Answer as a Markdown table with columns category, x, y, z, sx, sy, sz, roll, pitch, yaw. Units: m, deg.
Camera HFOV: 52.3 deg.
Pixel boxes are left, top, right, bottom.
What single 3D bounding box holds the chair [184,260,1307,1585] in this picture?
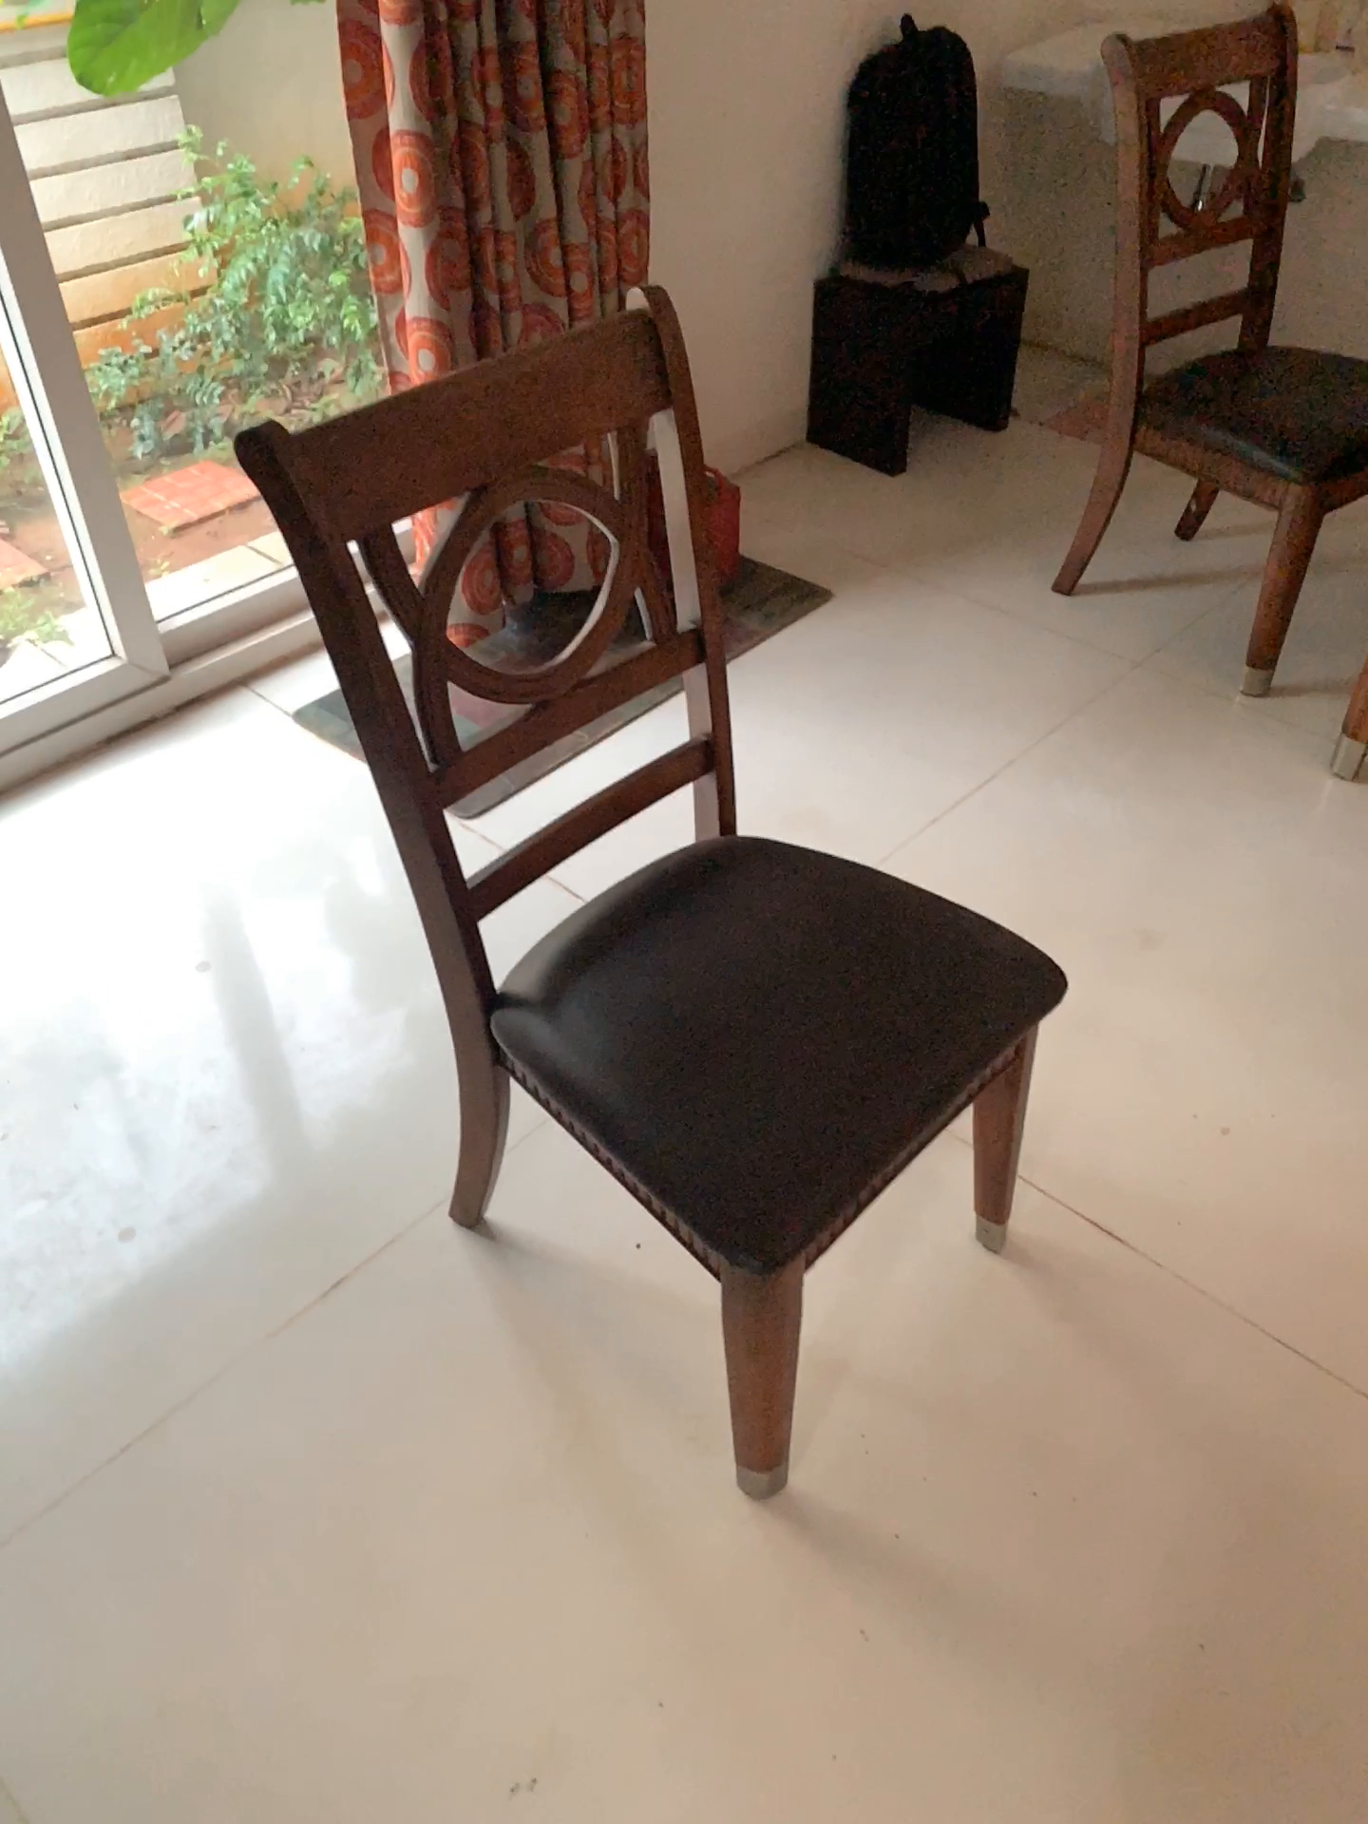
| category | x | y | z | sx | sy | sz | roll | pitch | yaw |
| --- | --- | --- | --- | --- | --- | --- | --- | --- | --- |
| chair | 0.047 | 0.020 | 1.404 | 0.642 | 1.025 | 0.571 | 32 | 52 | 32 |
